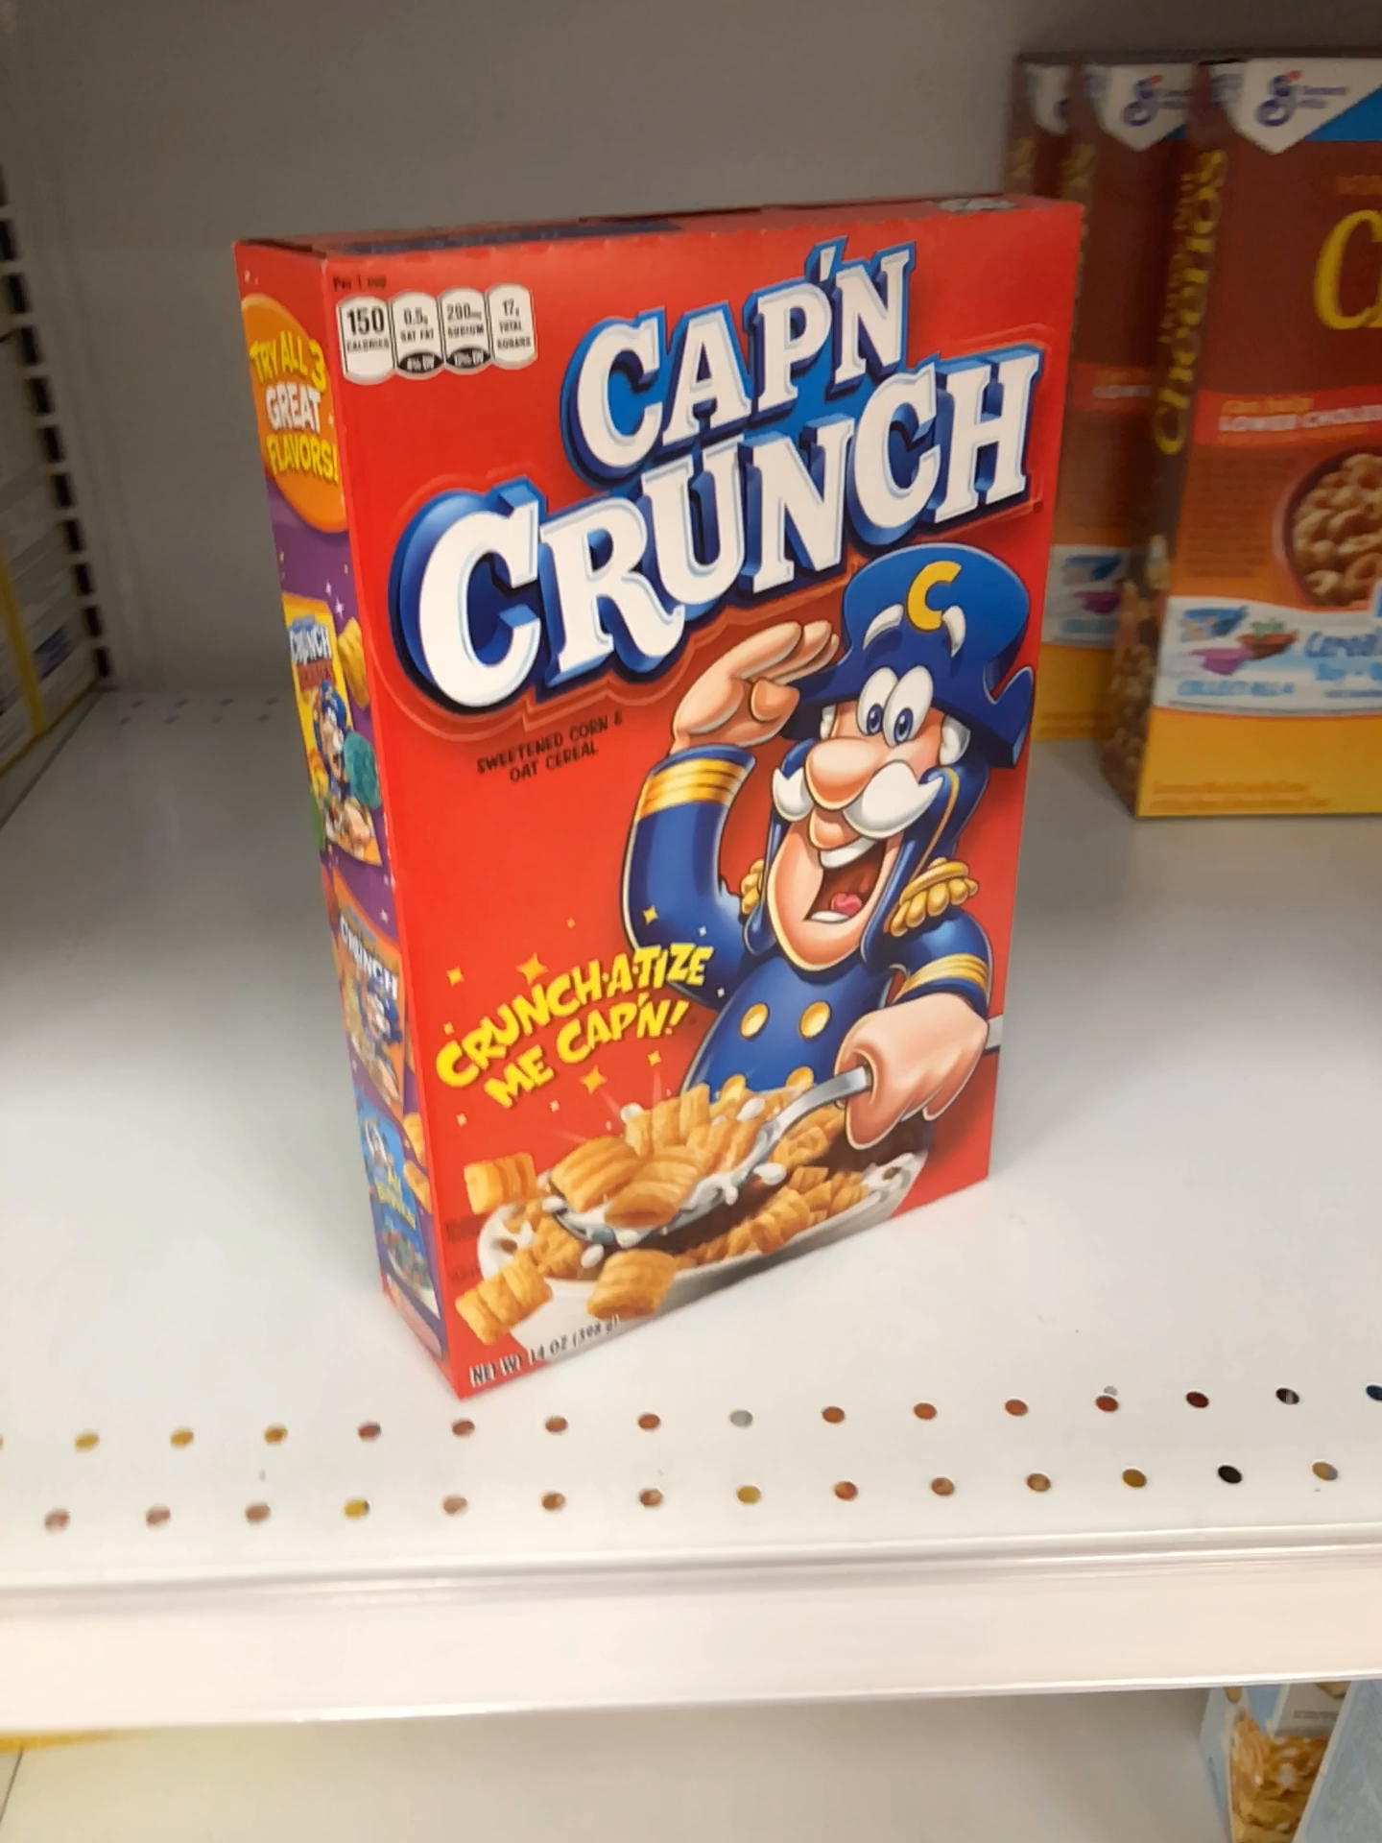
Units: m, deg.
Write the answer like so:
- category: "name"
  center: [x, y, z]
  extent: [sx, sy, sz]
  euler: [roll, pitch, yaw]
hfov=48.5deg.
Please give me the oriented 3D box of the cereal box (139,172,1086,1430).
- category: "cereal box"
  center: [-0.011, -0.032, 0.431]
  extent: [0.210, 0.309, 0.070]
  euler: [-16, 33, -26]
